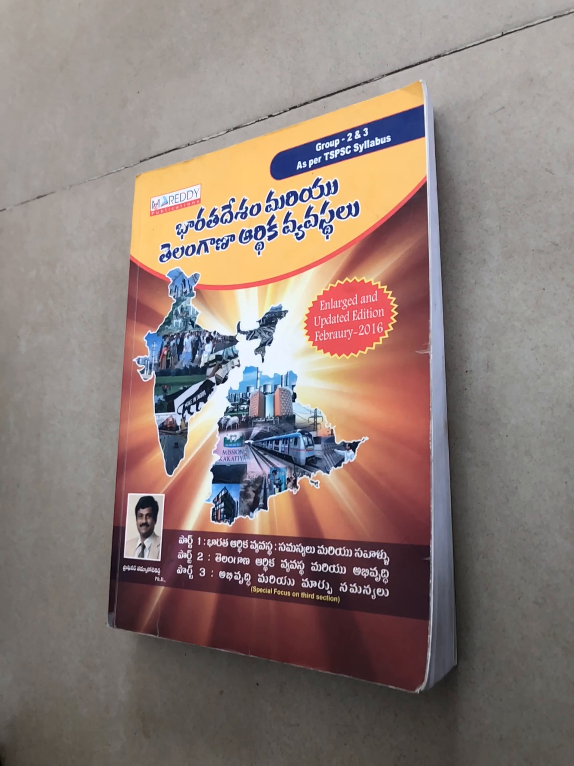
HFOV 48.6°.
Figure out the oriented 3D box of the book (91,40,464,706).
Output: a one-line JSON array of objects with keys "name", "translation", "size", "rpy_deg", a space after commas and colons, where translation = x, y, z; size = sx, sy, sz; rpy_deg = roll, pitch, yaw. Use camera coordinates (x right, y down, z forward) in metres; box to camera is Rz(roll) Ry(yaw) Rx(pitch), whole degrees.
[{"name": "book", "translation": [-0.013, -0.008, 0.325], "size": [0.191, 0.030, 0.280], "rpy_deg": [-5, 78, 32]}]
